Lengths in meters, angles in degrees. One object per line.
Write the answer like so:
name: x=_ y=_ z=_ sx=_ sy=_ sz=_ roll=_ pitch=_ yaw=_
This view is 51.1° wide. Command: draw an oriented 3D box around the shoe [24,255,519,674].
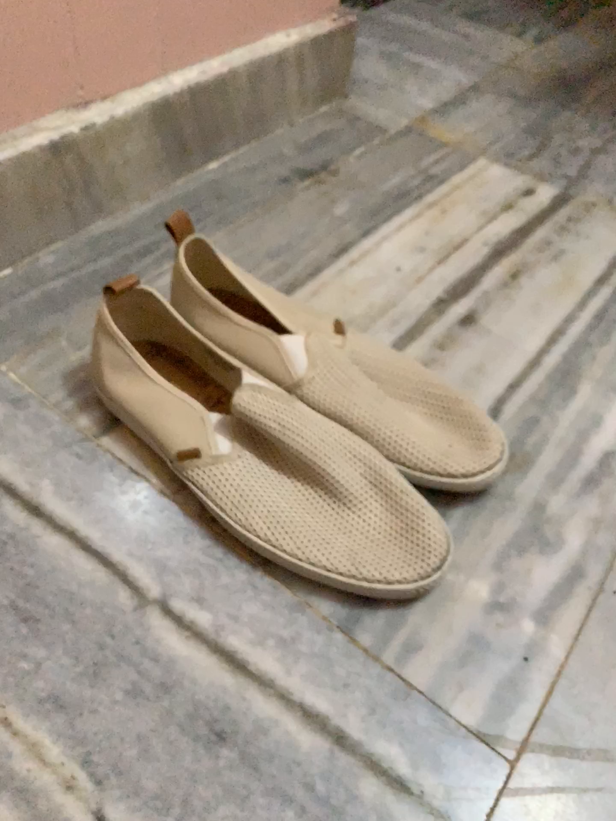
shoe: x=-0.036 y=0.017 z=0.435 sx=0.310 sy=0.080 sz=0.116 roll=33 pitch=53 yaw=22

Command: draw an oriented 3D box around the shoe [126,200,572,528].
shoe: x=0.021 y=-0.050 z=0.498 sx=0.310 sy=0.080 sz=0.116 roll=28 pitch=52 yaw=19
